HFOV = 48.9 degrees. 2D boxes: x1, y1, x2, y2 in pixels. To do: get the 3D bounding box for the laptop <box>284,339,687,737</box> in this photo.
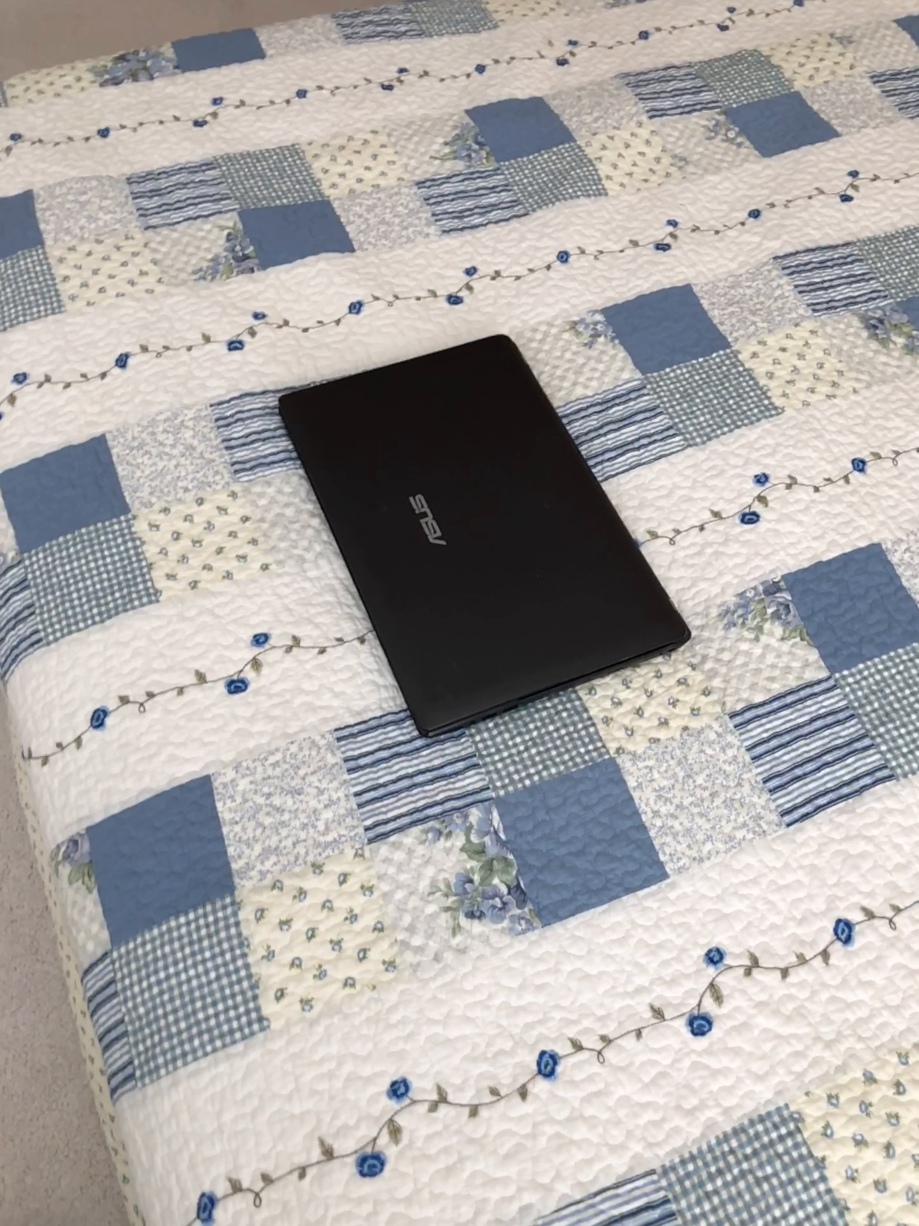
[{"bbox_3d":[0.011,-0.089,0.904,0.234,0.006,0.369,-19,61,-13],"label":"laptop"}]
